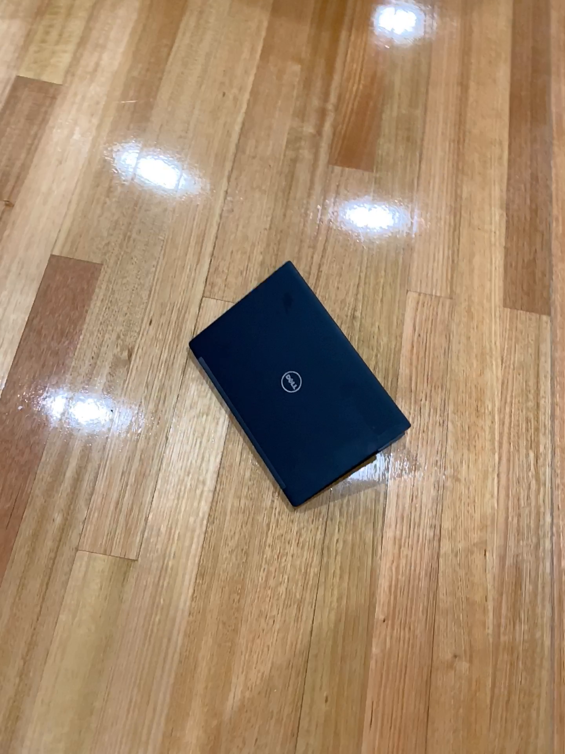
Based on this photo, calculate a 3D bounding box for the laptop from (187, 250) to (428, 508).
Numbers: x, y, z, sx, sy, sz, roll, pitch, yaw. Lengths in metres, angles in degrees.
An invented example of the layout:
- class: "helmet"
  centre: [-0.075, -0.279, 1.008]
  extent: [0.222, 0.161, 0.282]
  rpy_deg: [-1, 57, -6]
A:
- class: "laptop"
  centre: [0.026, 0.001, 0.852]
  extent: [0.206, 0.110, 0.296]
  rpy_deg: [-31, 75, -13]
